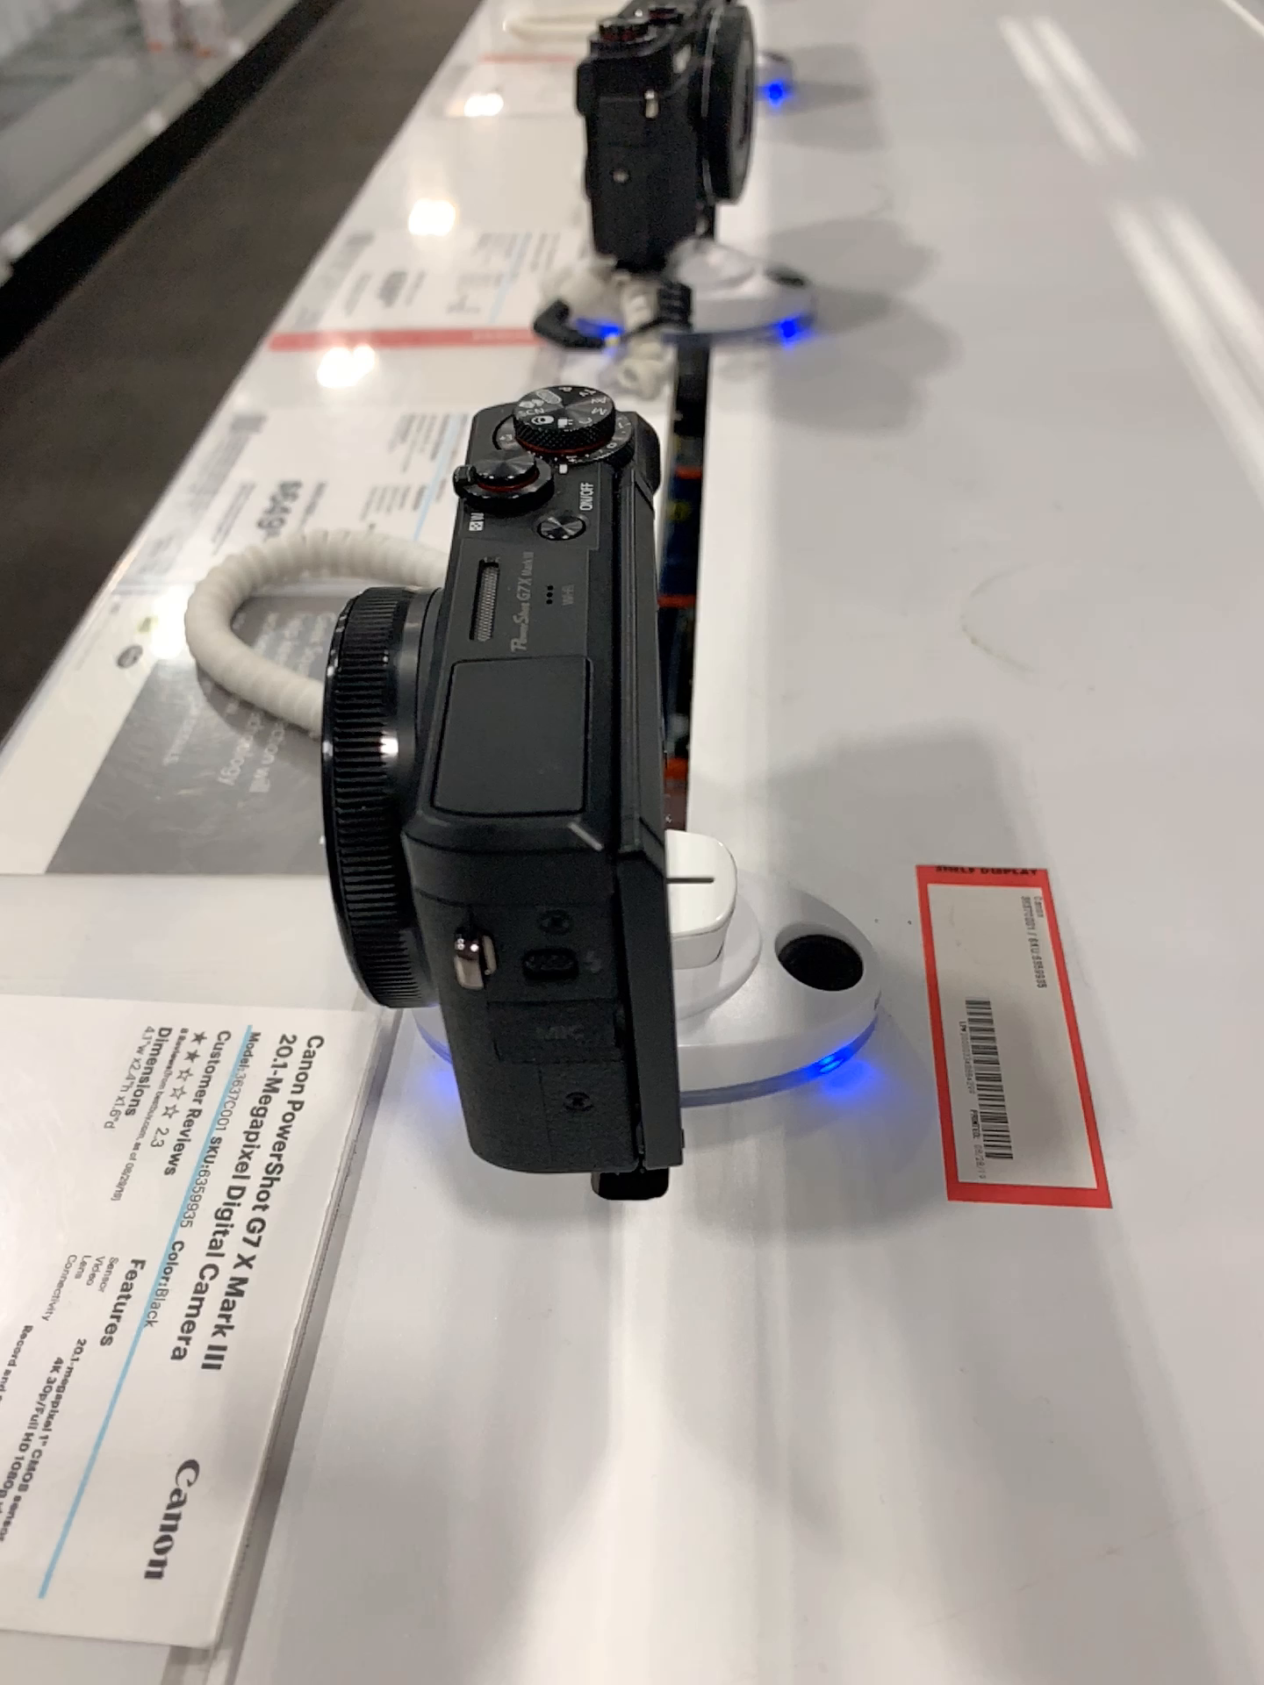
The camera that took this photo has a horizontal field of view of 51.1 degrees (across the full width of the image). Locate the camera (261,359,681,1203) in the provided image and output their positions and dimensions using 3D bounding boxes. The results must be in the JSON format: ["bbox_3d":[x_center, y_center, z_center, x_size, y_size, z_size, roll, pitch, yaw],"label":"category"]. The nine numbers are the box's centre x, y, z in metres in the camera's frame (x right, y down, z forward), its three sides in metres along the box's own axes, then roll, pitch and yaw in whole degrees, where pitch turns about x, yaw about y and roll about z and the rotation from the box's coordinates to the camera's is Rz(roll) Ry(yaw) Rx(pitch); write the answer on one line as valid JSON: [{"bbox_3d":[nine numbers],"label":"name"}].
[{"bbox_3d":[-0.015,-0.015,0.188,0.040,0.062,0.111,-1,44,1],"label":"camera"}]
